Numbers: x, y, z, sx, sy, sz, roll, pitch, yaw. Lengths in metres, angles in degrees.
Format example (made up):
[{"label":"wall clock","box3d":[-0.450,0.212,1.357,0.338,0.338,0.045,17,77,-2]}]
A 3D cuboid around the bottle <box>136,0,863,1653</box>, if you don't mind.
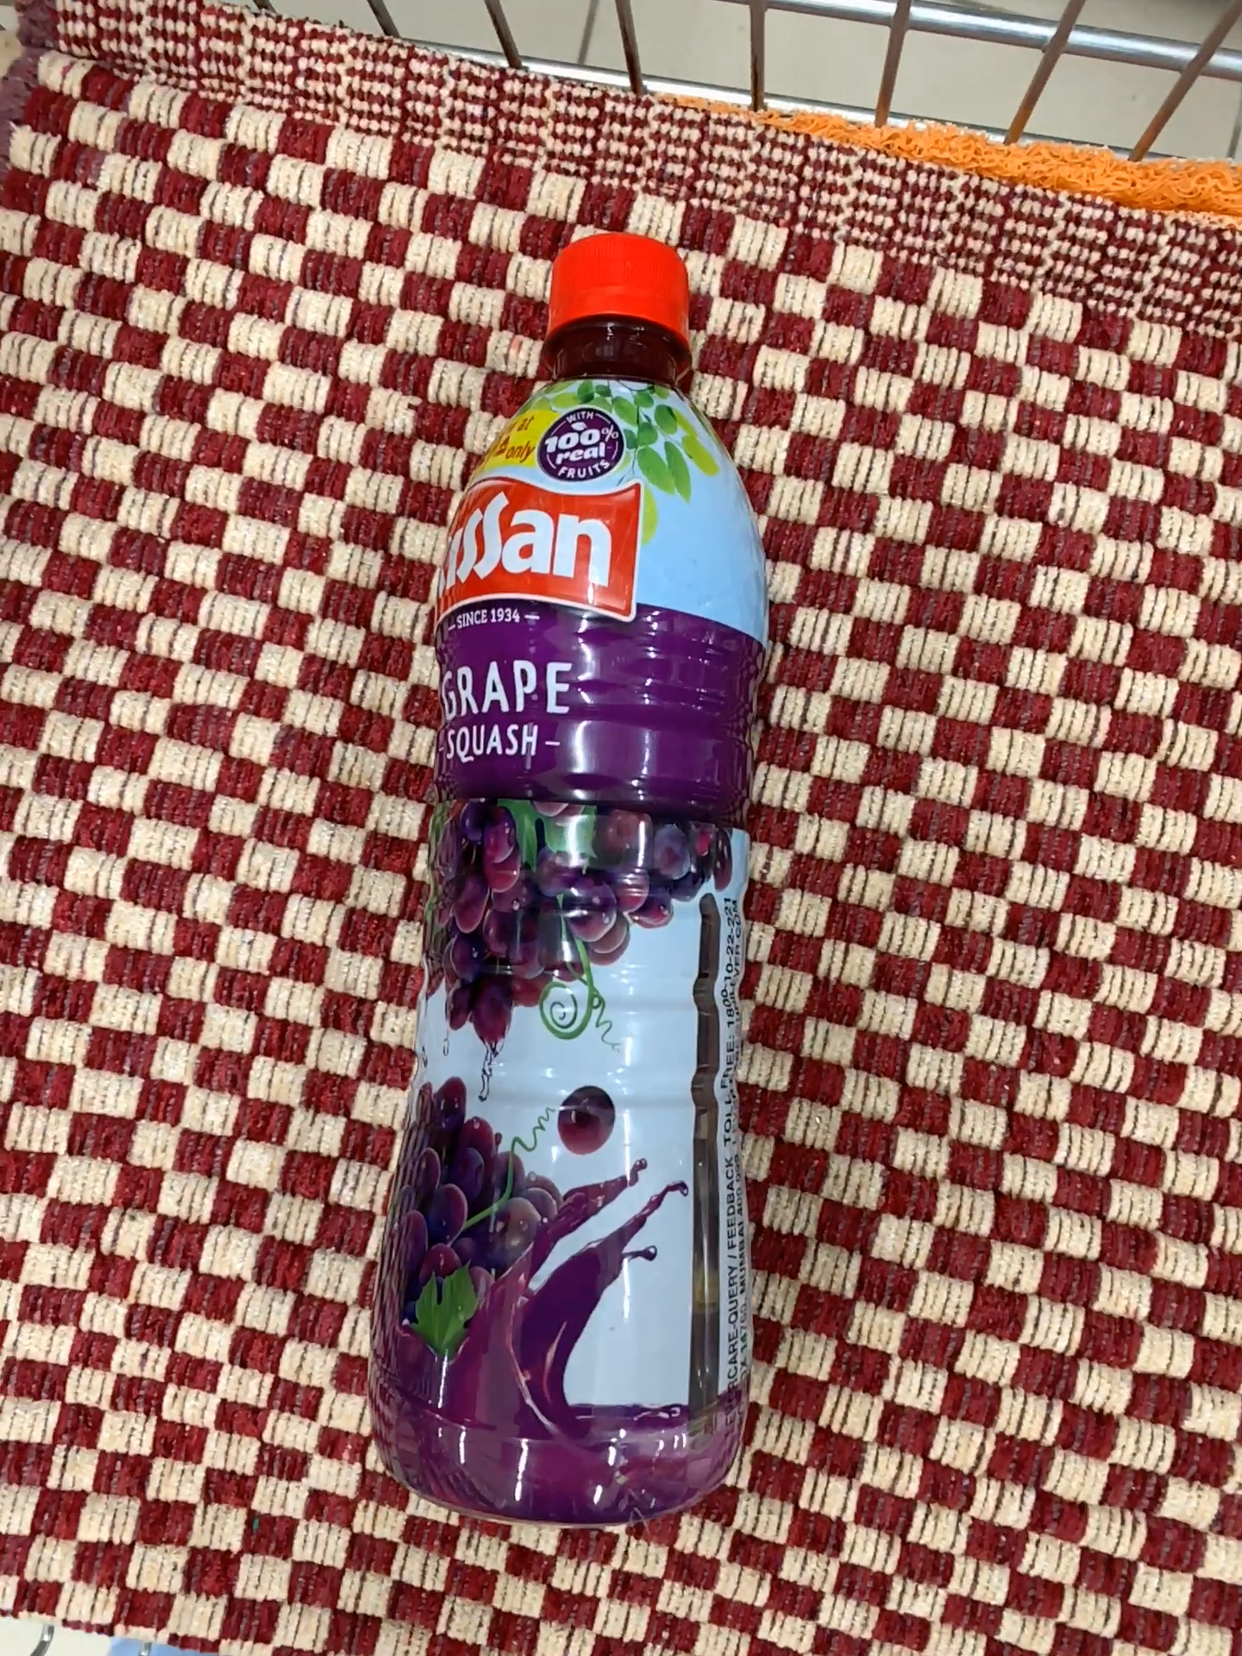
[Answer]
[{"label":"bottle","box3d":[-0.020,-0.004,0.237,0.080,0.080,0.240,9,85,-47]}]
